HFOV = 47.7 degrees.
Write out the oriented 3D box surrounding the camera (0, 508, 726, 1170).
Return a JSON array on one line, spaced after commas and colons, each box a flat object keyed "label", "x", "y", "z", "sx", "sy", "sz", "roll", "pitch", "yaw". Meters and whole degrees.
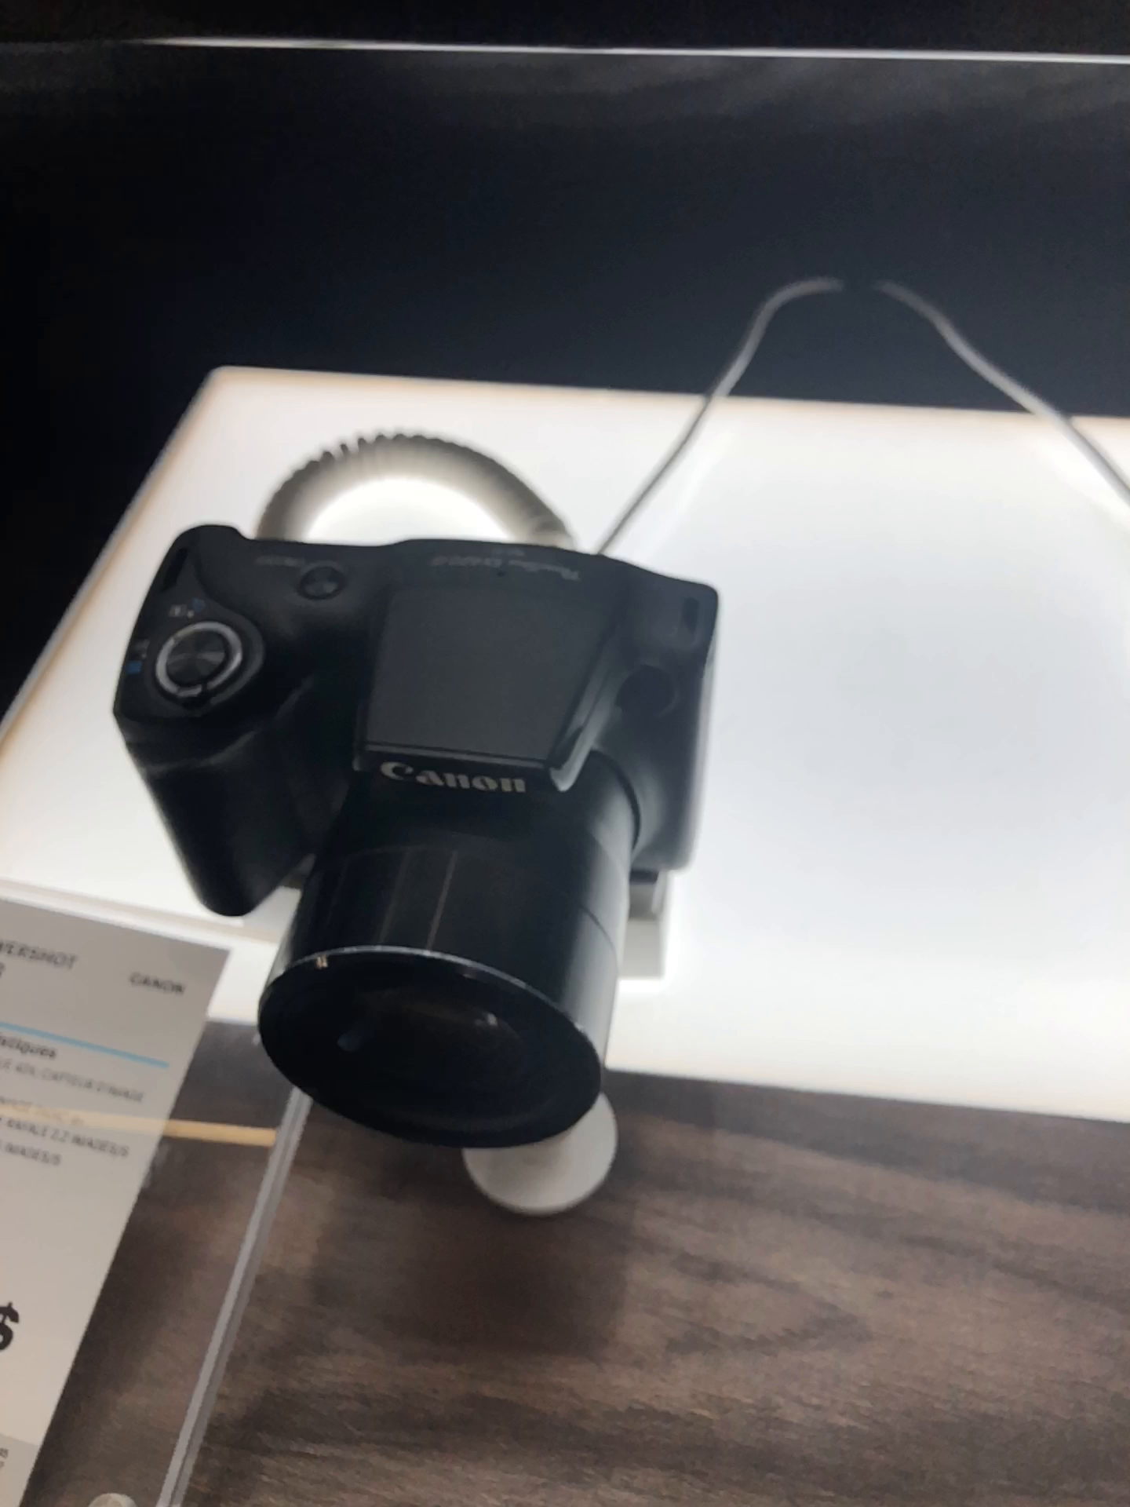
[{"label": "camera", "x": -0.026, "y": 0.014, "z": 0.220, "sx": 0.102, "sy": 0.074, "sz": 0.081, "roll": 2, "pitch": 47, "yaw": 4}]
